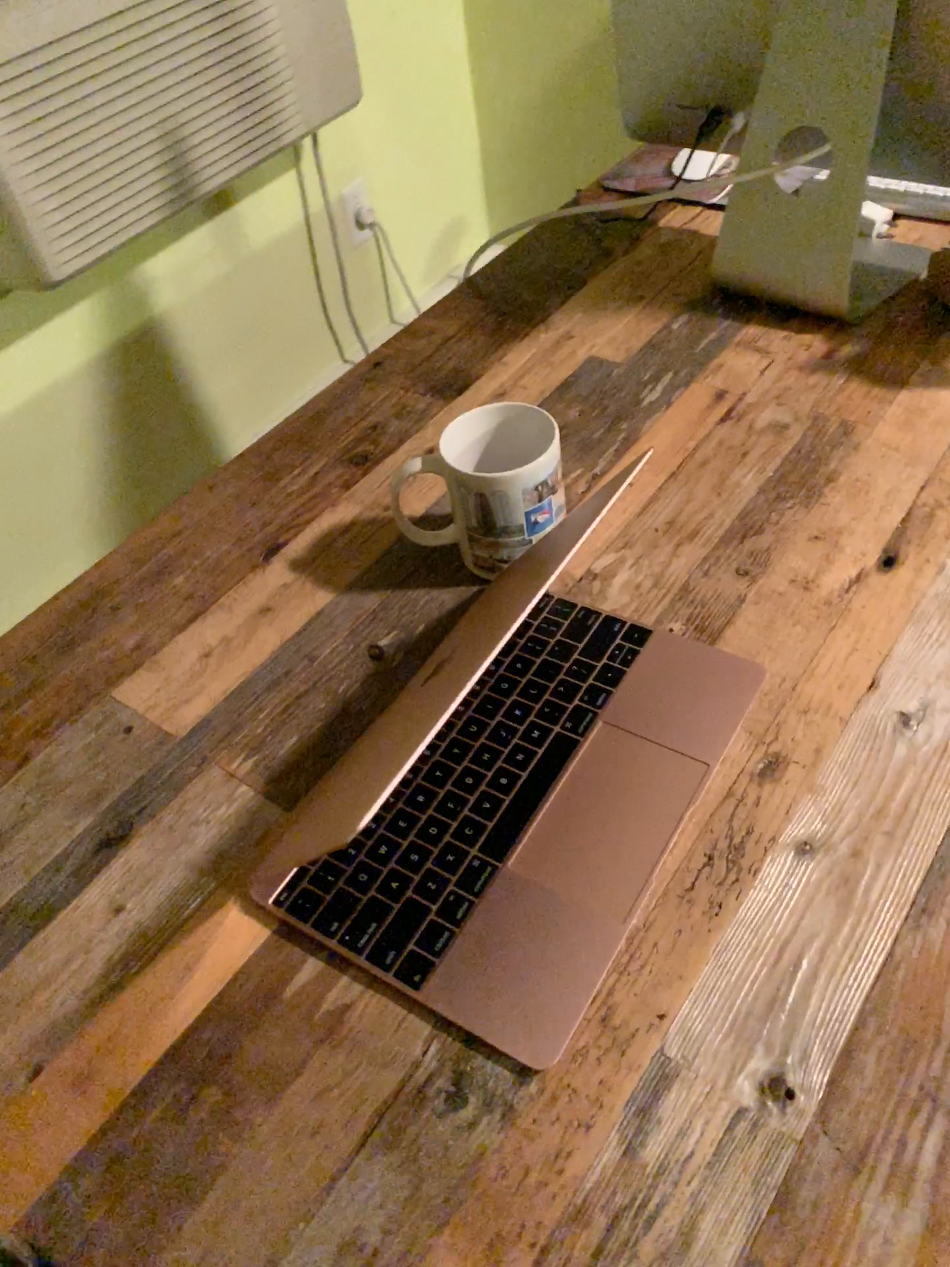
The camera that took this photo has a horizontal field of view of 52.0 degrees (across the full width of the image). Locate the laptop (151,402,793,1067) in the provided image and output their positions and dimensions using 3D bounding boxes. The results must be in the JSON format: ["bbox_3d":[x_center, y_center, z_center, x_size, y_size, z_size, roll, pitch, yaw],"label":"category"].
[{"bbox_3d":[0.018,0.033,0.528,0.194,0.145,0.279,21,54,26],"label":"laptop"}]
